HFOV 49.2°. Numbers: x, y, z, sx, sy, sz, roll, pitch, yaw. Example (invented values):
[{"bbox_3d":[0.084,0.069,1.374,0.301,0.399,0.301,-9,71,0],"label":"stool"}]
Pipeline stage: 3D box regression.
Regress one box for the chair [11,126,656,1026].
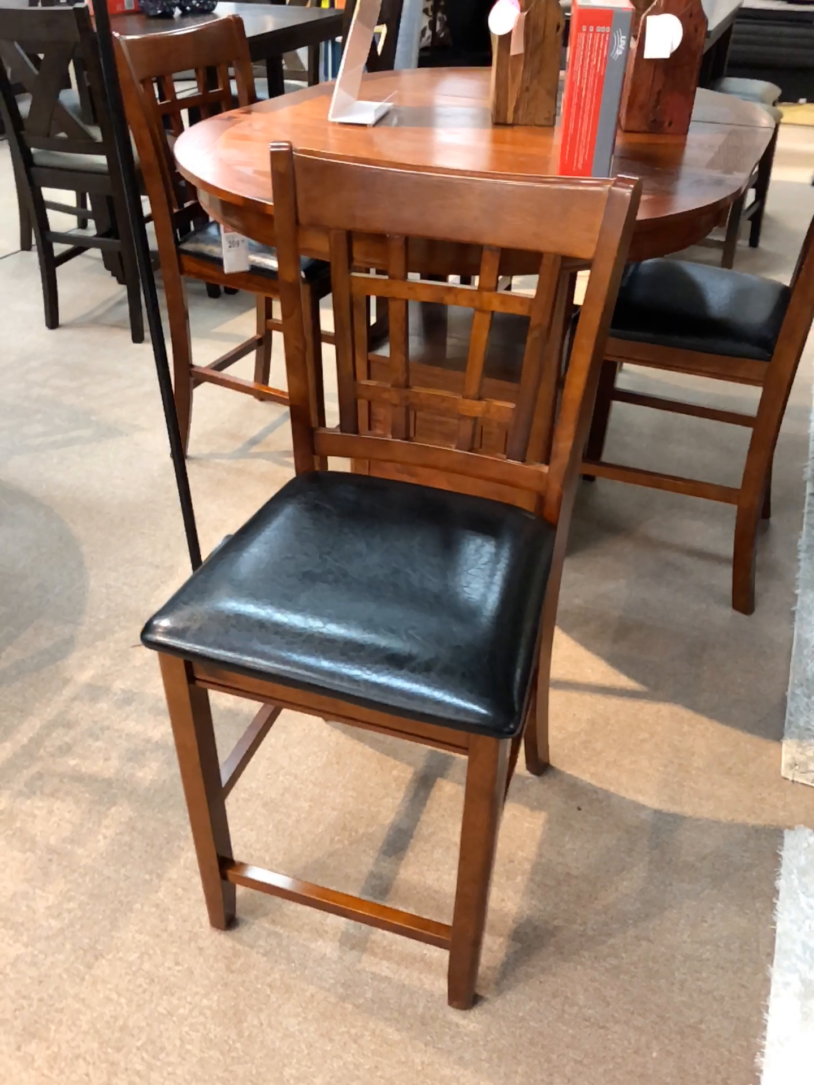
[{"bbox_3d":[-0.029,0.054,1.150,0.470,0.963,0.523,12,37,14],"label":"chair"}]
